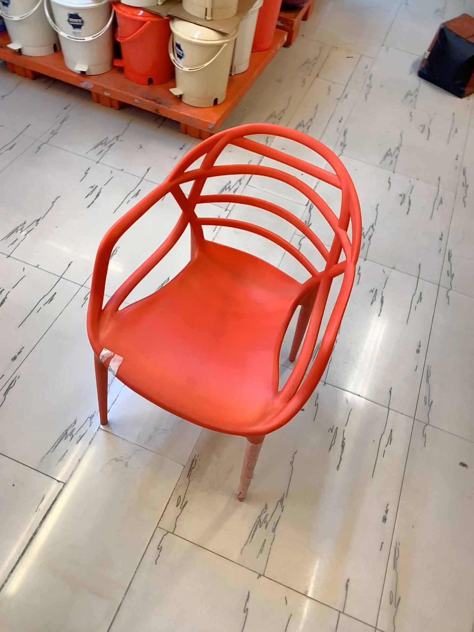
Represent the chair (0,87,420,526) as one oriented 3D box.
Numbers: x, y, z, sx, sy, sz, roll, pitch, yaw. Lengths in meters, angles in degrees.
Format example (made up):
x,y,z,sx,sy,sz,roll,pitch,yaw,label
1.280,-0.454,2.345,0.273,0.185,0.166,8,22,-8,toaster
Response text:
x,y,z,sx,sy,sz,roll,pitch,yaw,label
-0.032,-0.005,1.164,0.550,0.656,0.634,25,55,10,chair
